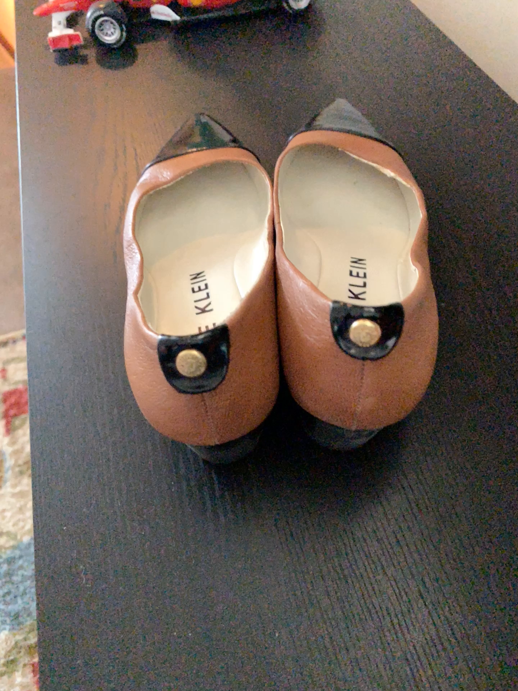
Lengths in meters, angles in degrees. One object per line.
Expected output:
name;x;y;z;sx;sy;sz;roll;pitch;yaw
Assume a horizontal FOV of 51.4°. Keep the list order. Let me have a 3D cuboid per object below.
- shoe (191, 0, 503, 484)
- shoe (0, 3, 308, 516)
shoe;0.038;-0.075;0.269;0.092;0.079;0.262;3;54;4
shoe;-0.042;-0.063;0.278;0.092;0.099;0.262;-5;54;-2
